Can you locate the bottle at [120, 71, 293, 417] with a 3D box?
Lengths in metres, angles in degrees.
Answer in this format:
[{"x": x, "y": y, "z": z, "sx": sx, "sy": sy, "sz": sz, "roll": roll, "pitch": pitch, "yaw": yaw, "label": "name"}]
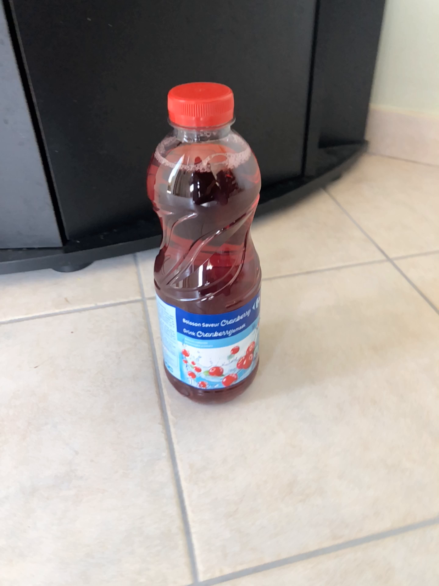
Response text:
[{"x": -0.011, "y": -0.029, "z": 0.377, "sx": 0.090, "sy": 0.239, "sz": 0.100, "roll": -9, "pitch": 38, "yaw": -10, "label": "bottle"}]
